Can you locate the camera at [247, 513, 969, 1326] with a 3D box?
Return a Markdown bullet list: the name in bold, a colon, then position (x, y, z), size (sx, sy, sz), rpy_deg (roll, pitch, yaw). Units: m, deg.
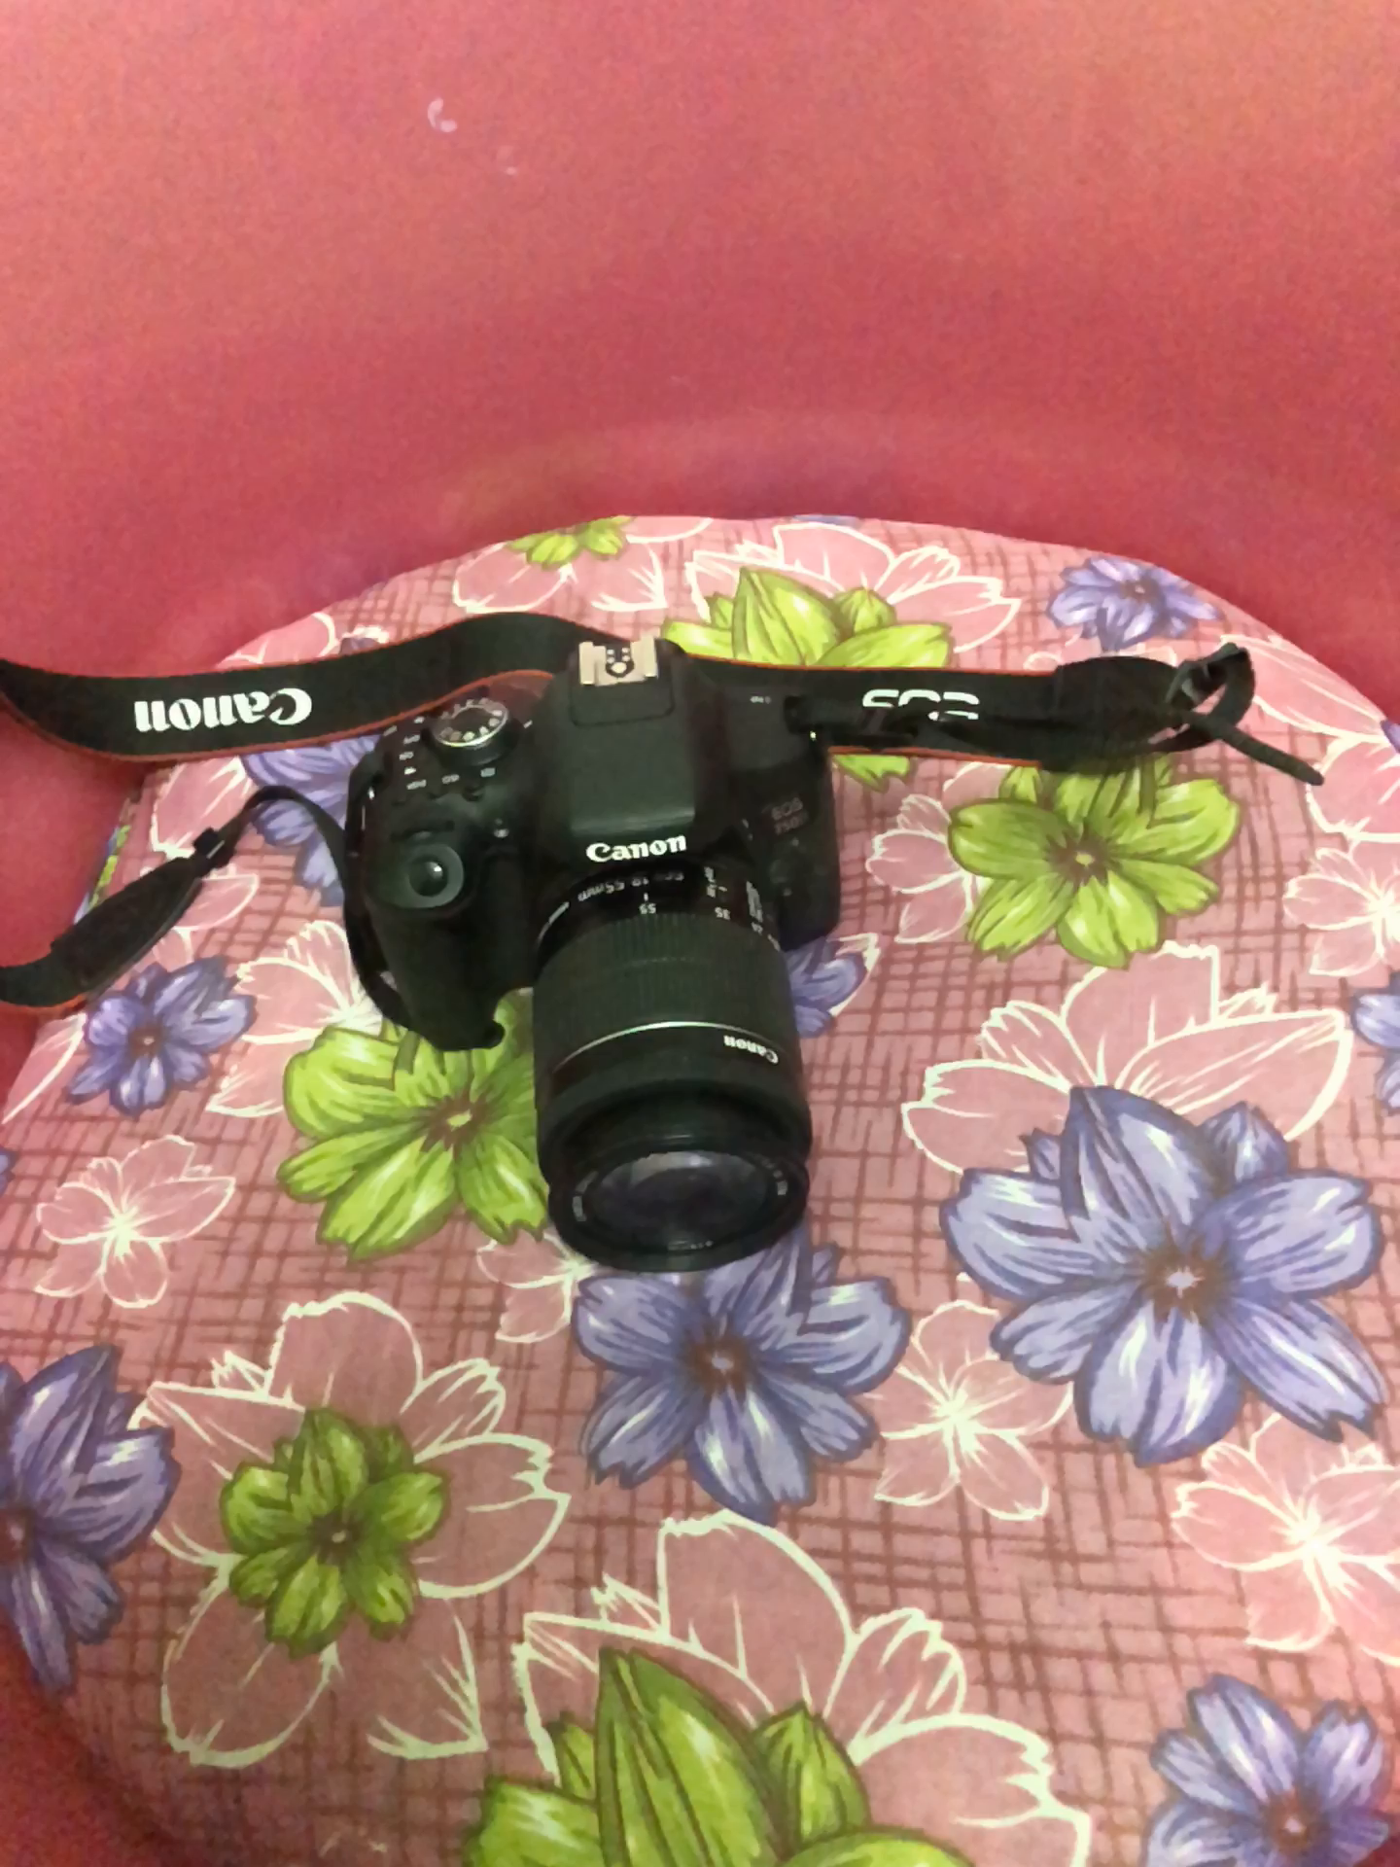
- **camera**: position (-0.019, -0.005, 0.384), size (0.140, 0.100, 0.161), rpy_deg (-7, 53, 2)
